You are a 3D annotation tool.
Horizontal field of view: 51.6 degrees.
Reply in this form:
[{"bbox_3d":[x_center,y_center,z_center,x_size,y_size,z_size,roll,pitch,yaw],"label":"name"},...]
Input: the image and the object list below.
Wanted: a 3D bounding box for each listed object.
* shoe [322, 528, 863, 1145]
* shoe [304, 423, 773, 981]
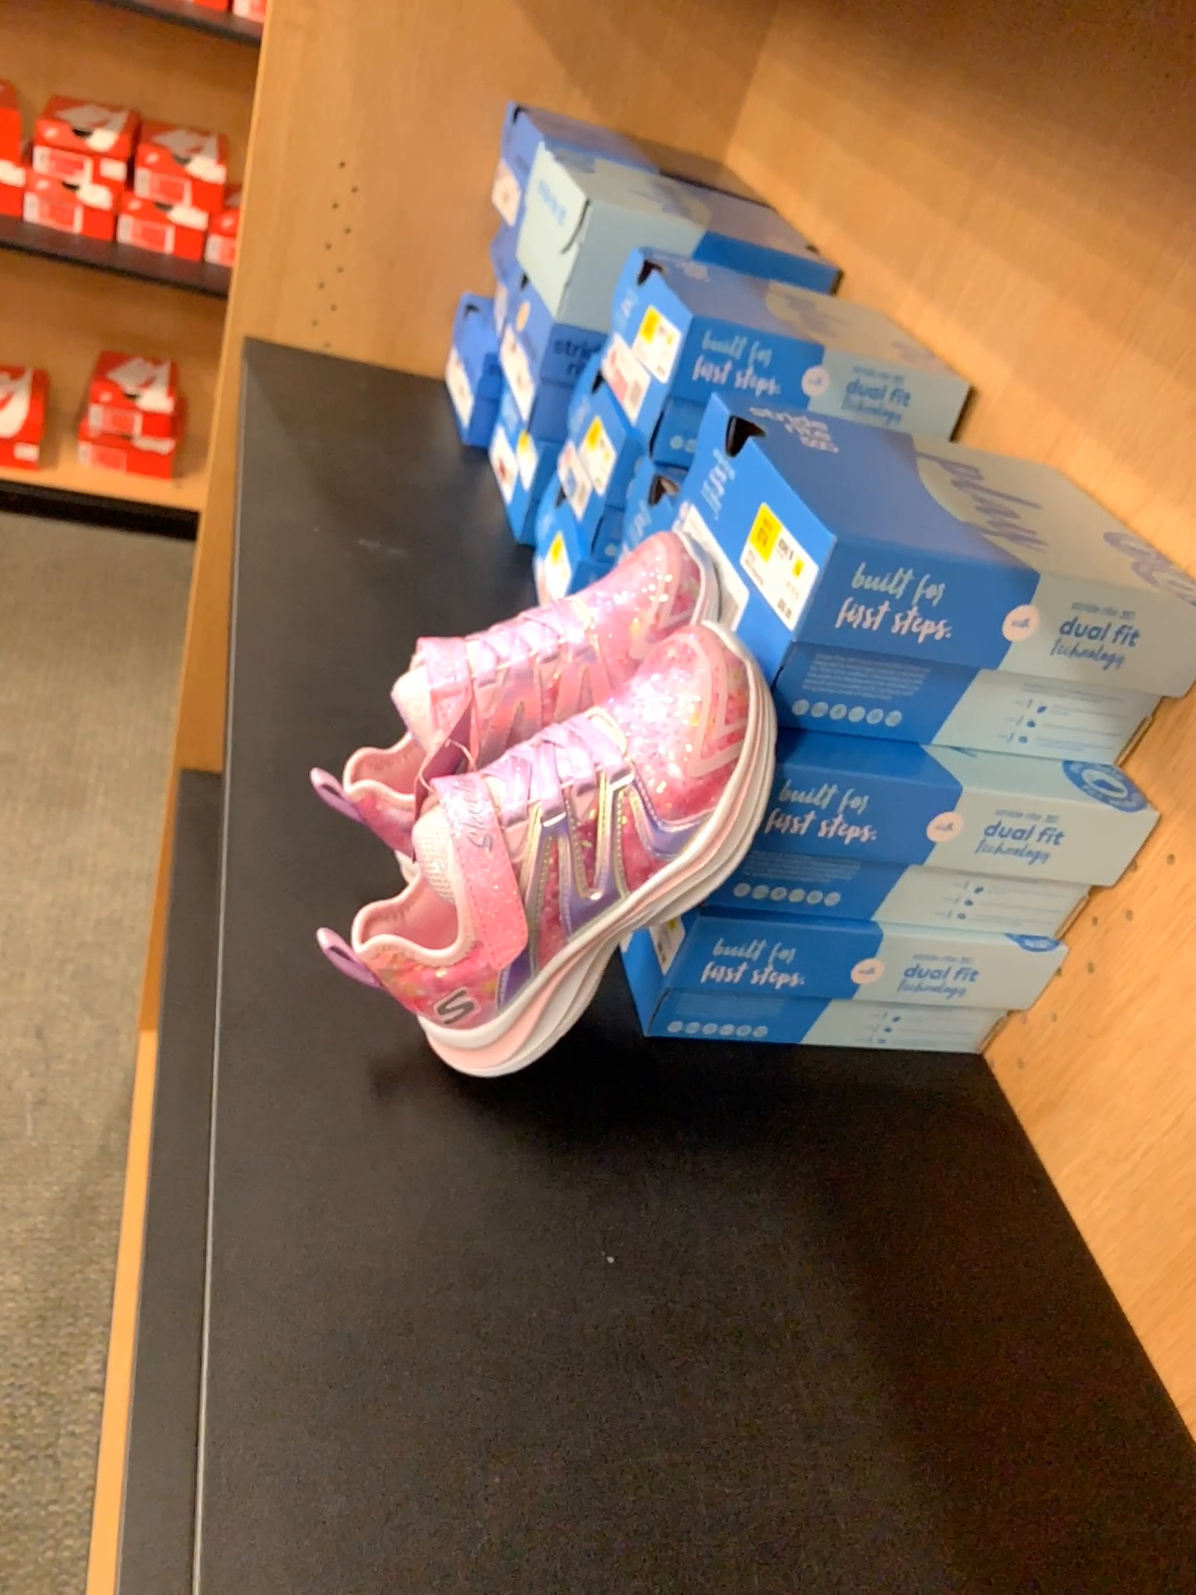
[{"bbox_3d":[-0.011,0.018,0.462,0.080,0.199,0.090,25,18,-33],"label":"shoe"},{"bbox_3d":[-0.034,-0.039,0.533,0.080,0.209,0.090,28,18,-30],"label":"shoe"}]
